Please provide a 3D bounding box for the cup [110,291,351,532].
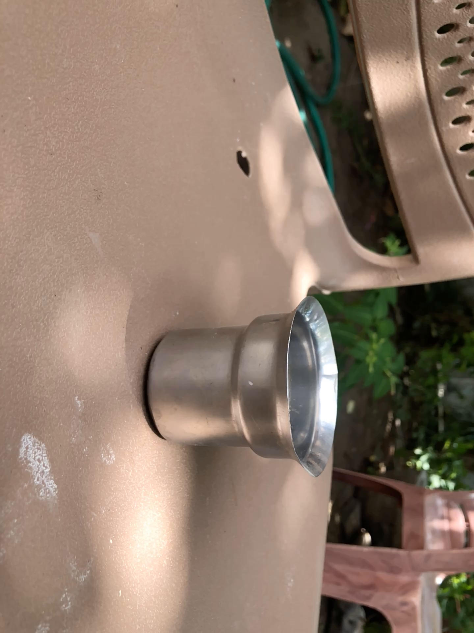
[{"bbox_3d":[0.002,0.031,0.212,0.060,0.070,0.070,-31,119,-60],"label":"cup"}]
